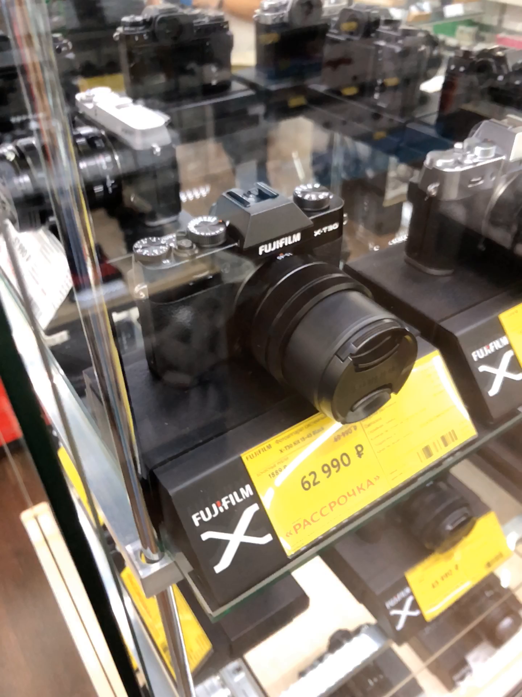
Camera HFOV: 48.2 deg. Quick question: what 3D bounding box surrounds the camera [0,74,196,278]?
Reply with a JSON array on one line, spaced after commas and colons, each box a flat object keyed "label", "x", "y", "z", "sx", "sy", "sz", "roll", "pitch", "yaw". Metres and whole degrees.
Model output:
[{"label": "camera", "x": -0.132, "y": -0.134, "z": 0.432, "sx": 0.120, "sy": 0.089, "sz": 0.114, "roll": -24, "pitch": 44, "yaw": -27}]

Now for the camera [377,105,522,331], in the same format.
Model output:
[{"label": "camera", "x": 0.157, "y": -0.089, "z": 0.365, "sx": 0.114, "sy": 0.078, "sz": 0.109, "roll": -22, "pitch": 43, "yaw": -25}]

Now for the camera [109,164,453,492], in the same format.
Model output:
[{"label": "camera", "x": 0.007, "y": -0.020, "z": 0.295, "sx": 0.114, "sy": 0.089, "sz": 0.110, "roll": -25, "pitch": 44, "yaw": -27}]
